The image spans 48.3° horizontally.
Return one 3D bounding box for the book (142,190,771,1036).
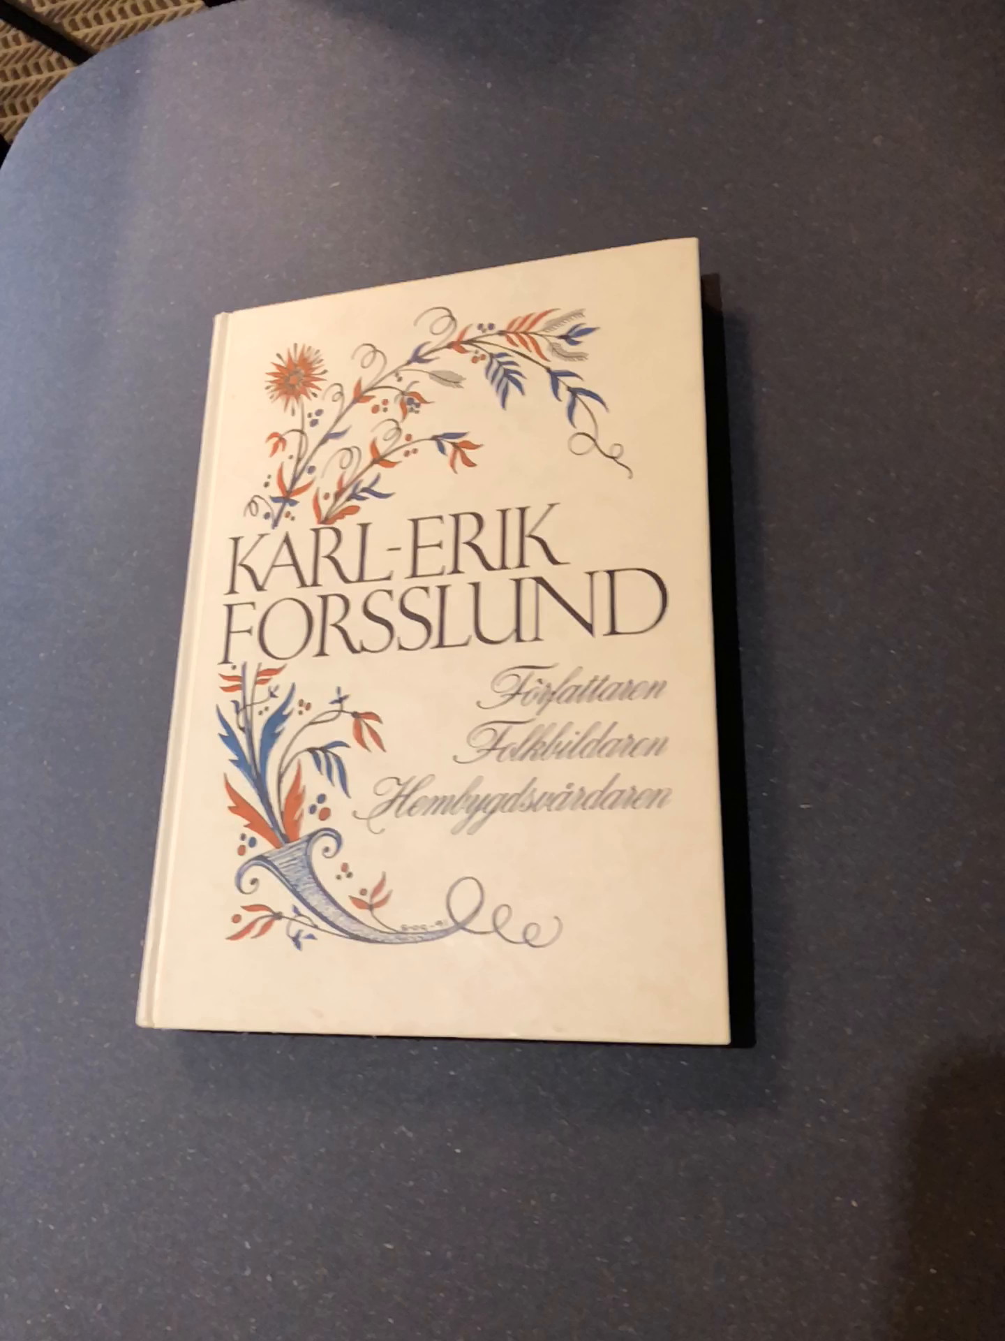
[{"bbox_3d":[-0.012,-0.019,0.326,0.164,0.028,0.232,-4,72,17],"label":"book"}]
